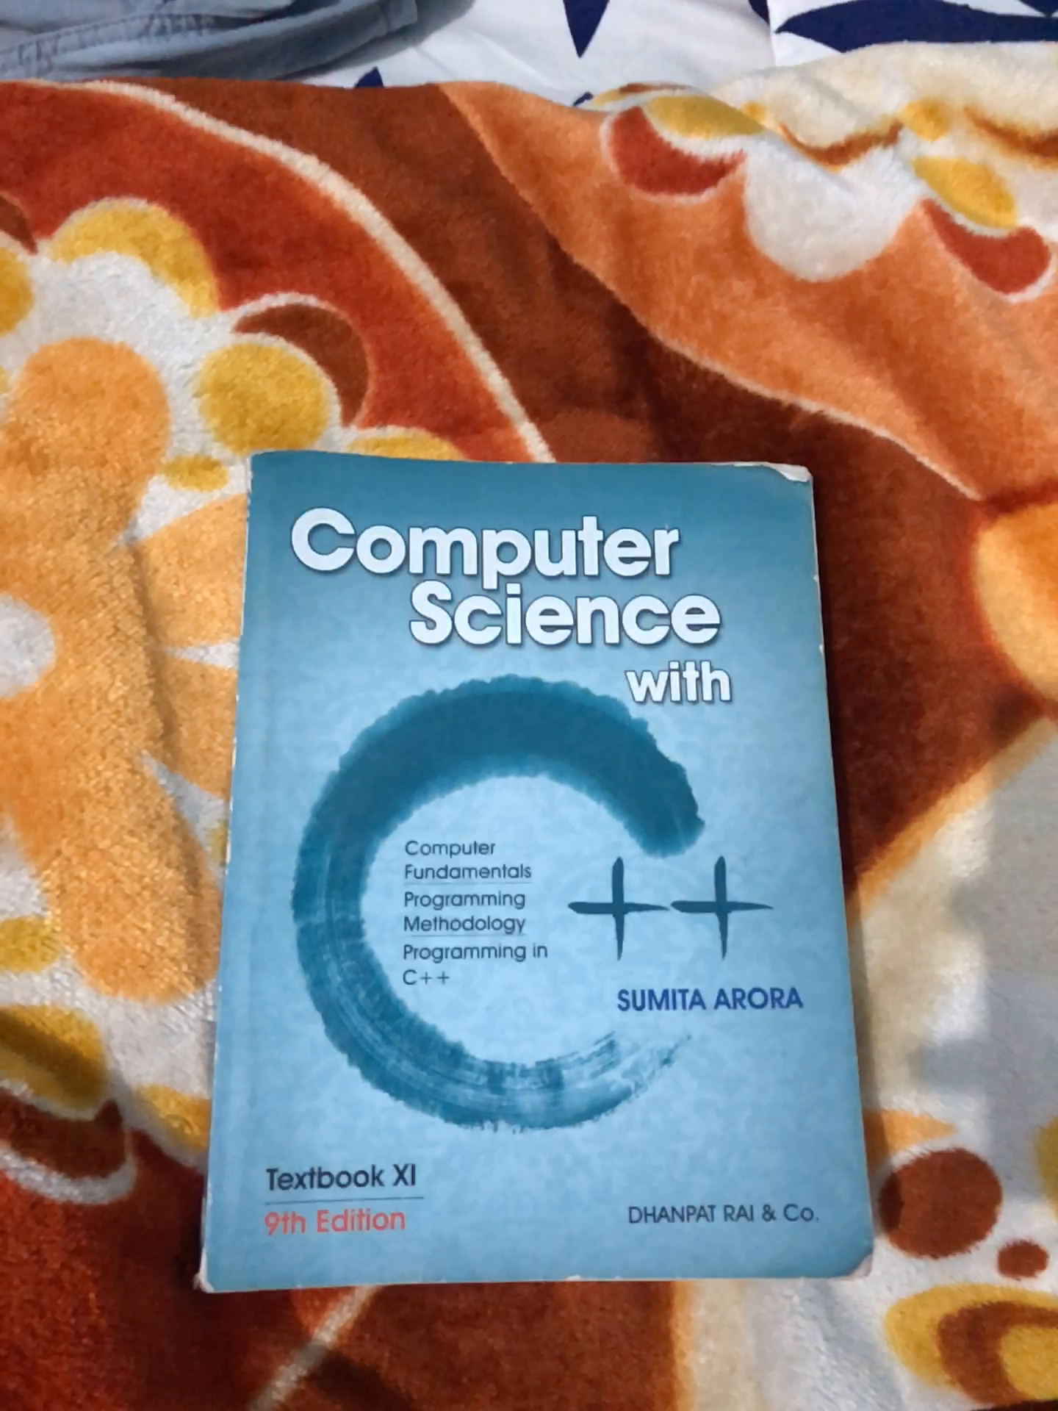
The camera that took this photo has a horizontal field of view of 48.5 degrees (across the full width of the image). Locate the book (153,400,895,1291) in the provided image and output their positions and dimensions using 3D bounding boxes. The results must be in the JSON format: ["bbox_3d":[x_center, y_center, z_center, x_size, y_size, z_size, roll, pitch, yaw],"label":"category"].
[{"bbox_3d":[0.000,0.037,0.385,0.210,0.040,0.270,1,75,-6],"label":"book"}]
